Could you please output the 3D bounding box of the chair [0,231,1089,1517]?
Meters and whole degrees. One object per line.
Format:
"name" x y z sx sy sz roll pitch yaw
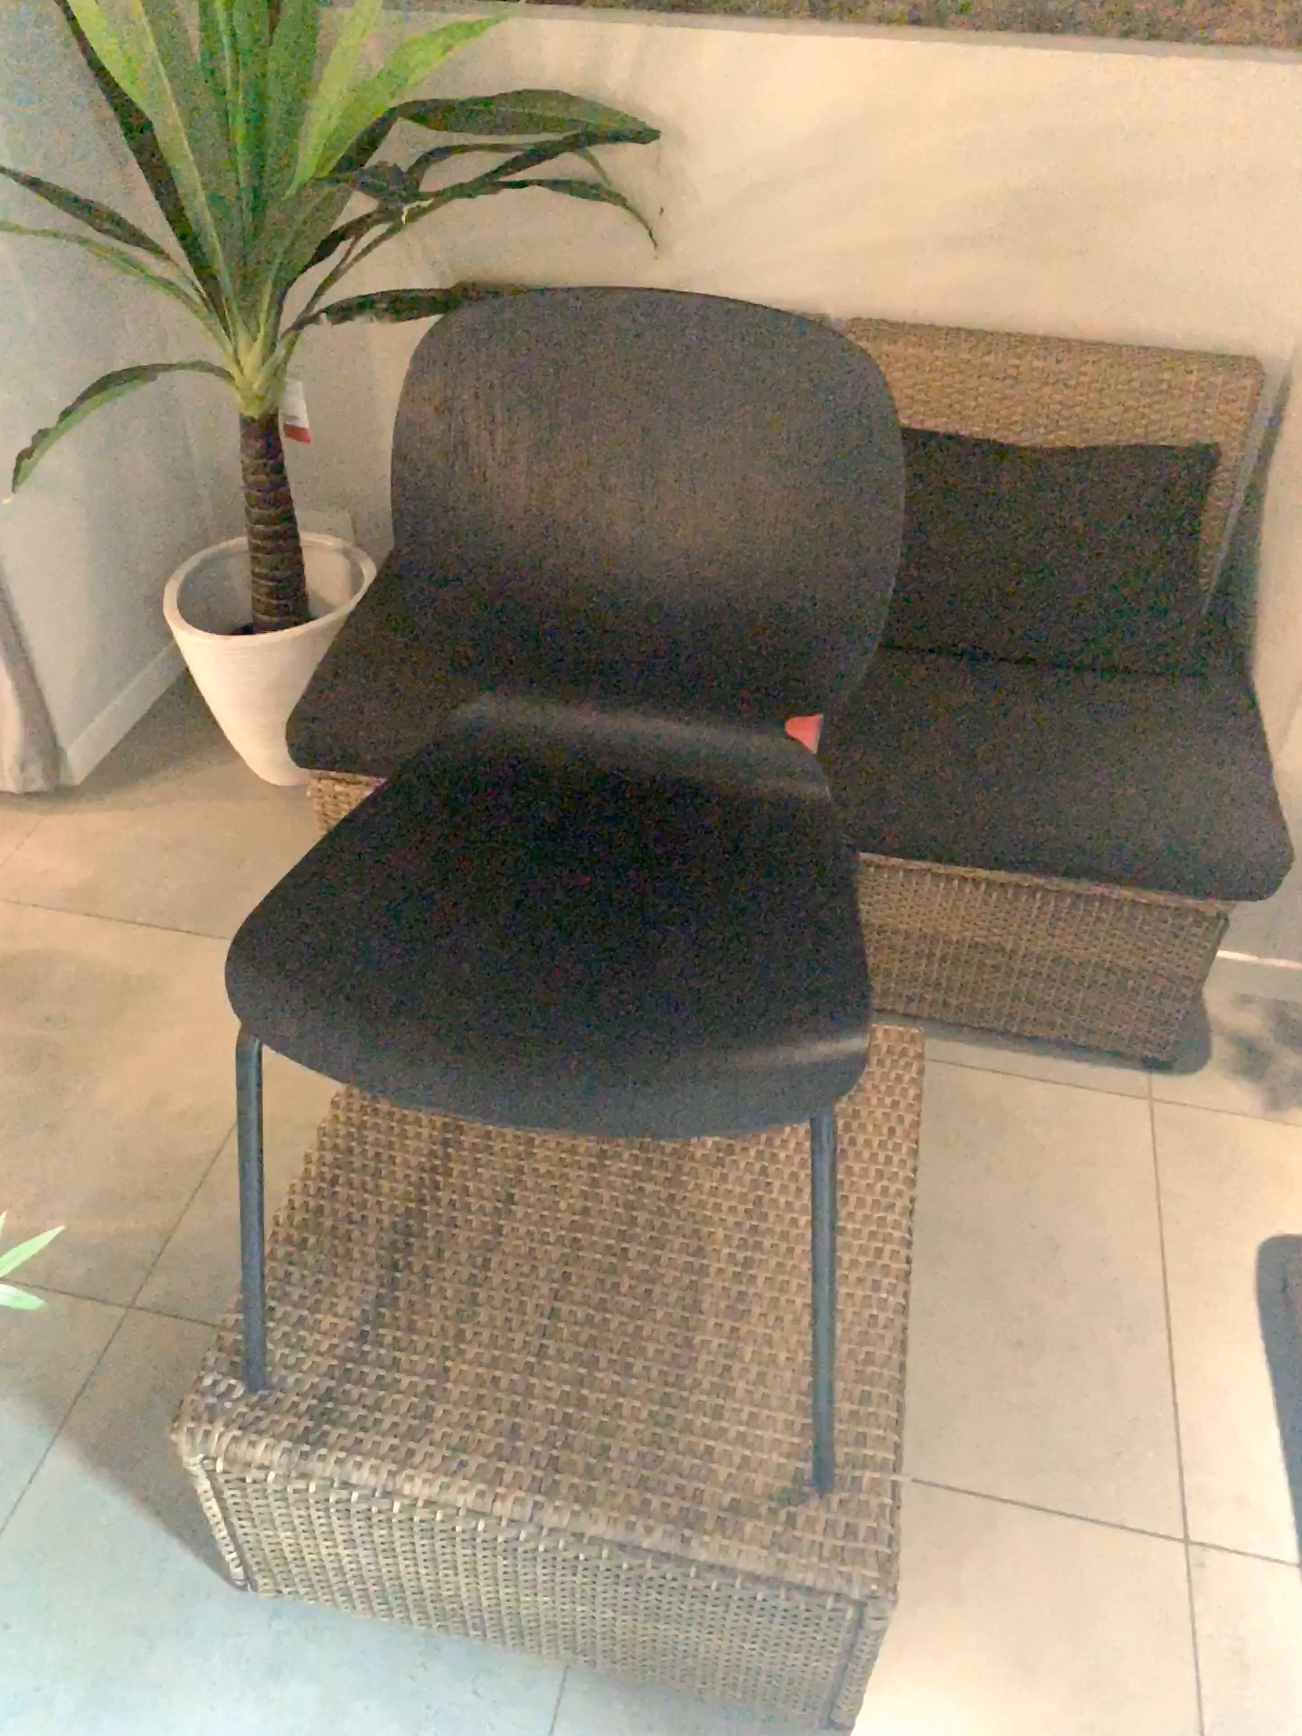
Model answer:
"chair" -0.043 0.008 1.043 0.530 0.767 0.562 8 41 6
